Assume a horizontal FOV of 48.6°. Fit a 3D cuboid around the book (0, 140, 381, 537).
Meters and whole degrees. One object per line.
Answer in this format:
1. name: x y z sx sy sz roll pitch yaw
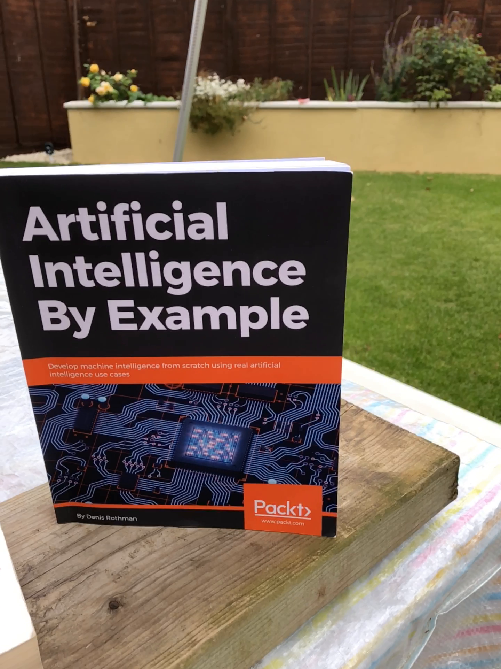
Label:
1. book: -0.039 0.010 0.338 0.210 0.239 0.040 1 22 4
